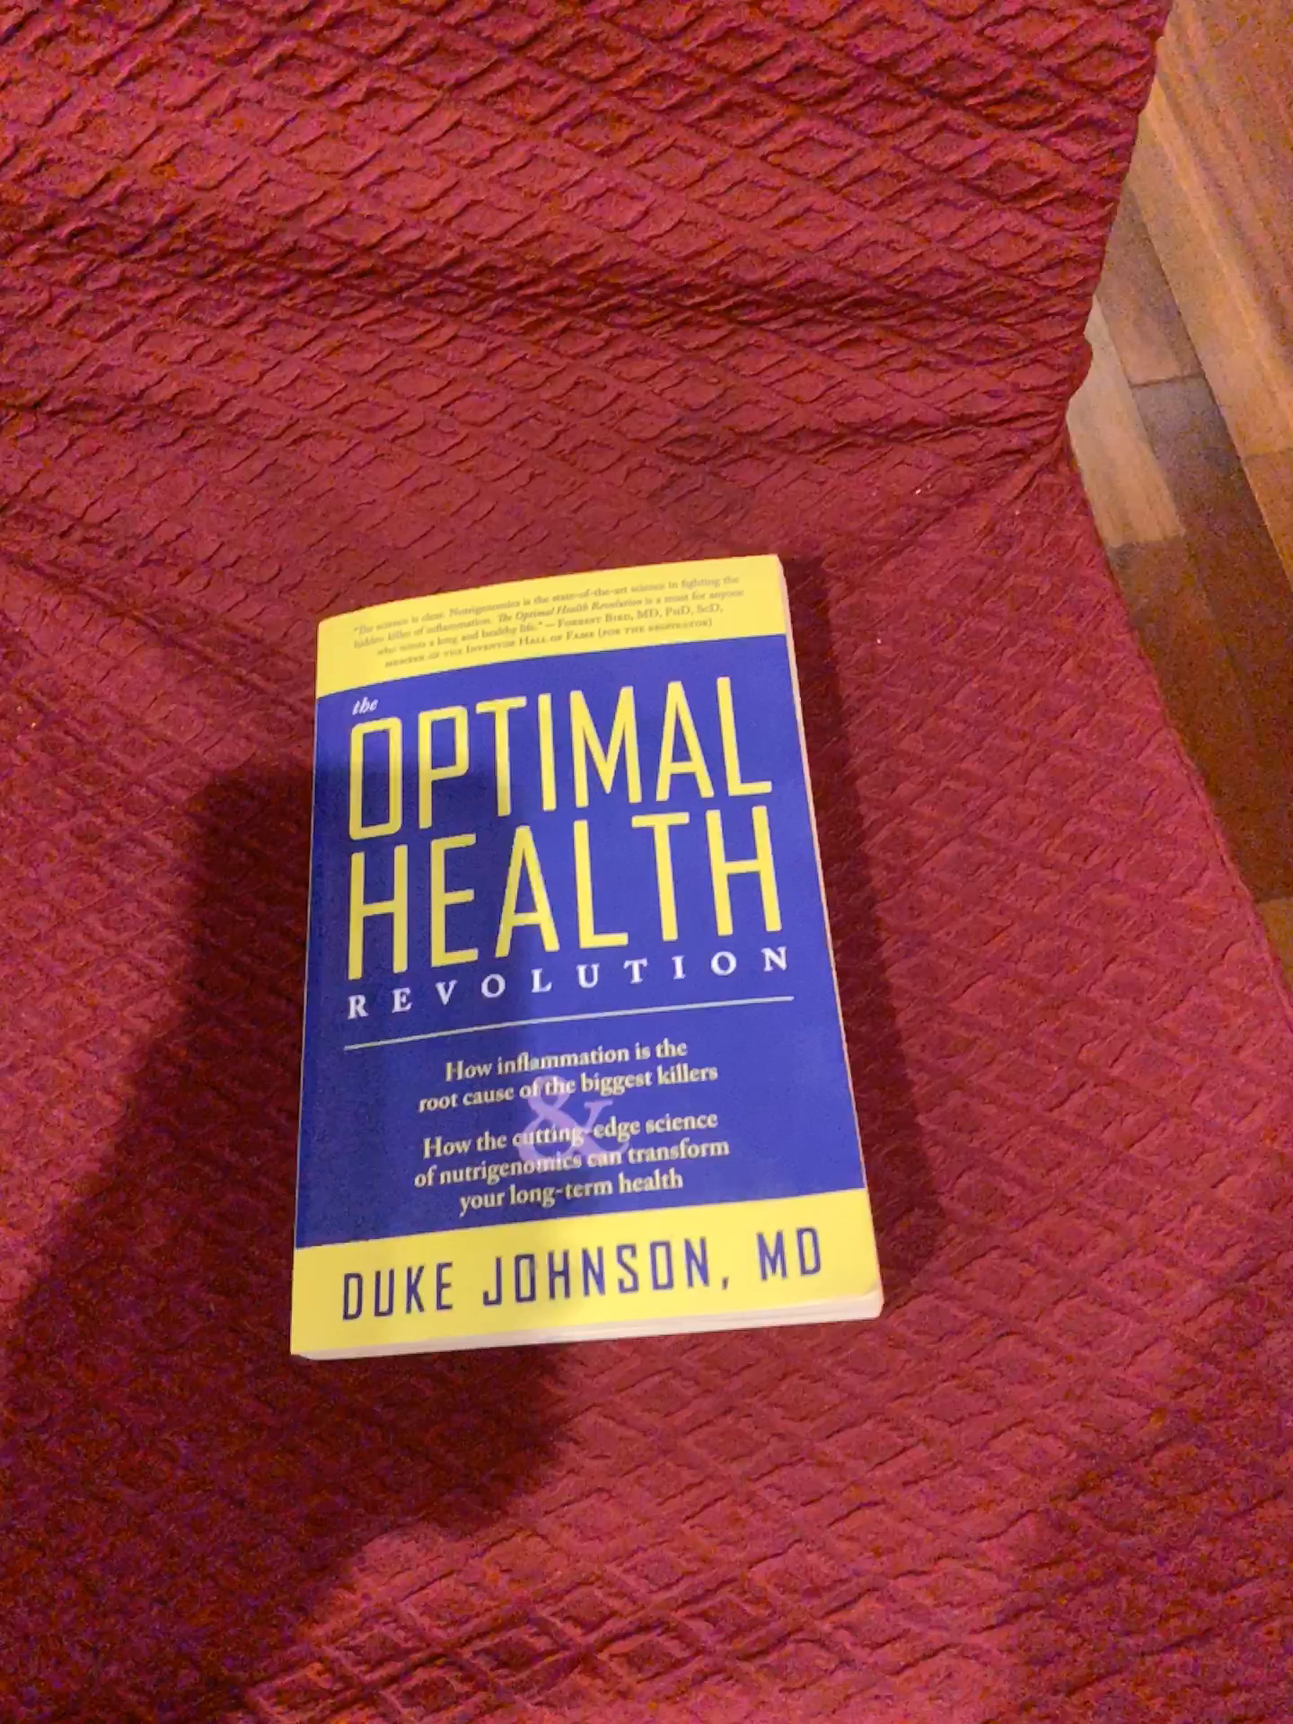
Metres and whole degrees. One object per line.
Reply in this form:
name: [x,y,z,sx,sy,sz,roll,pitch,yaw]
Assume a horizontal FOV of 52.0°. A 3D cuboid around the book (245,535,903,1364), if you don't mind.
book: [-0.022,0.023,0.391,0.161,0.060,0.222,-6,66,5]
